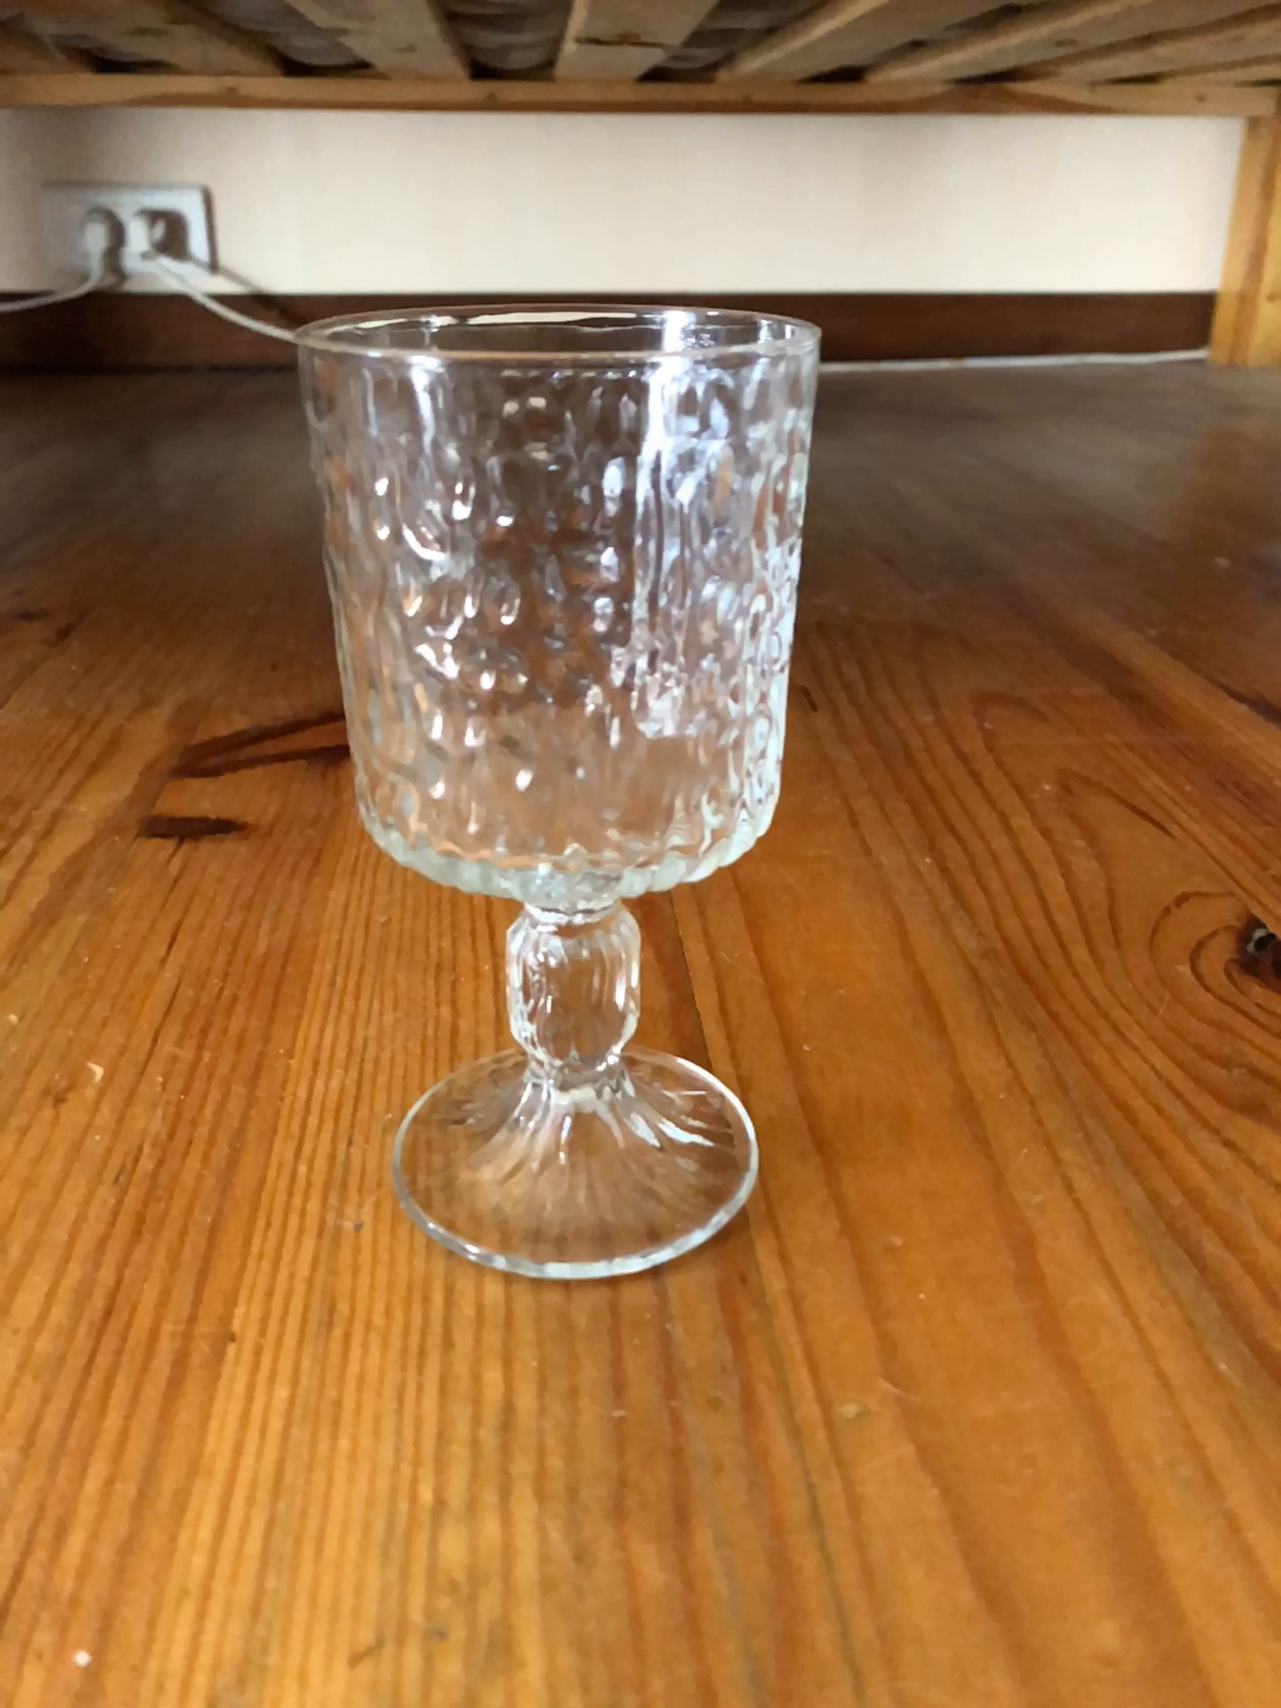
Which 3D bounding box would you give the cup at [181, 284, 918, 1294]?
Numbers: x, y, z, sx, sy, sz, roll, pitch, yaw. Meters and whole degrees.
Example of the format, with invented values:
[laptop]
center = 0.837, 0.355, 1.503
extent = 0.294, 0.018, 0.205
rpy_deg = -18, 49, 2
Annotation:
[cup]
center = -0.013, -0.015, 0.221
extent = 0.081, 0.134, 0.081
rpy_deg = 0, 24, 0
